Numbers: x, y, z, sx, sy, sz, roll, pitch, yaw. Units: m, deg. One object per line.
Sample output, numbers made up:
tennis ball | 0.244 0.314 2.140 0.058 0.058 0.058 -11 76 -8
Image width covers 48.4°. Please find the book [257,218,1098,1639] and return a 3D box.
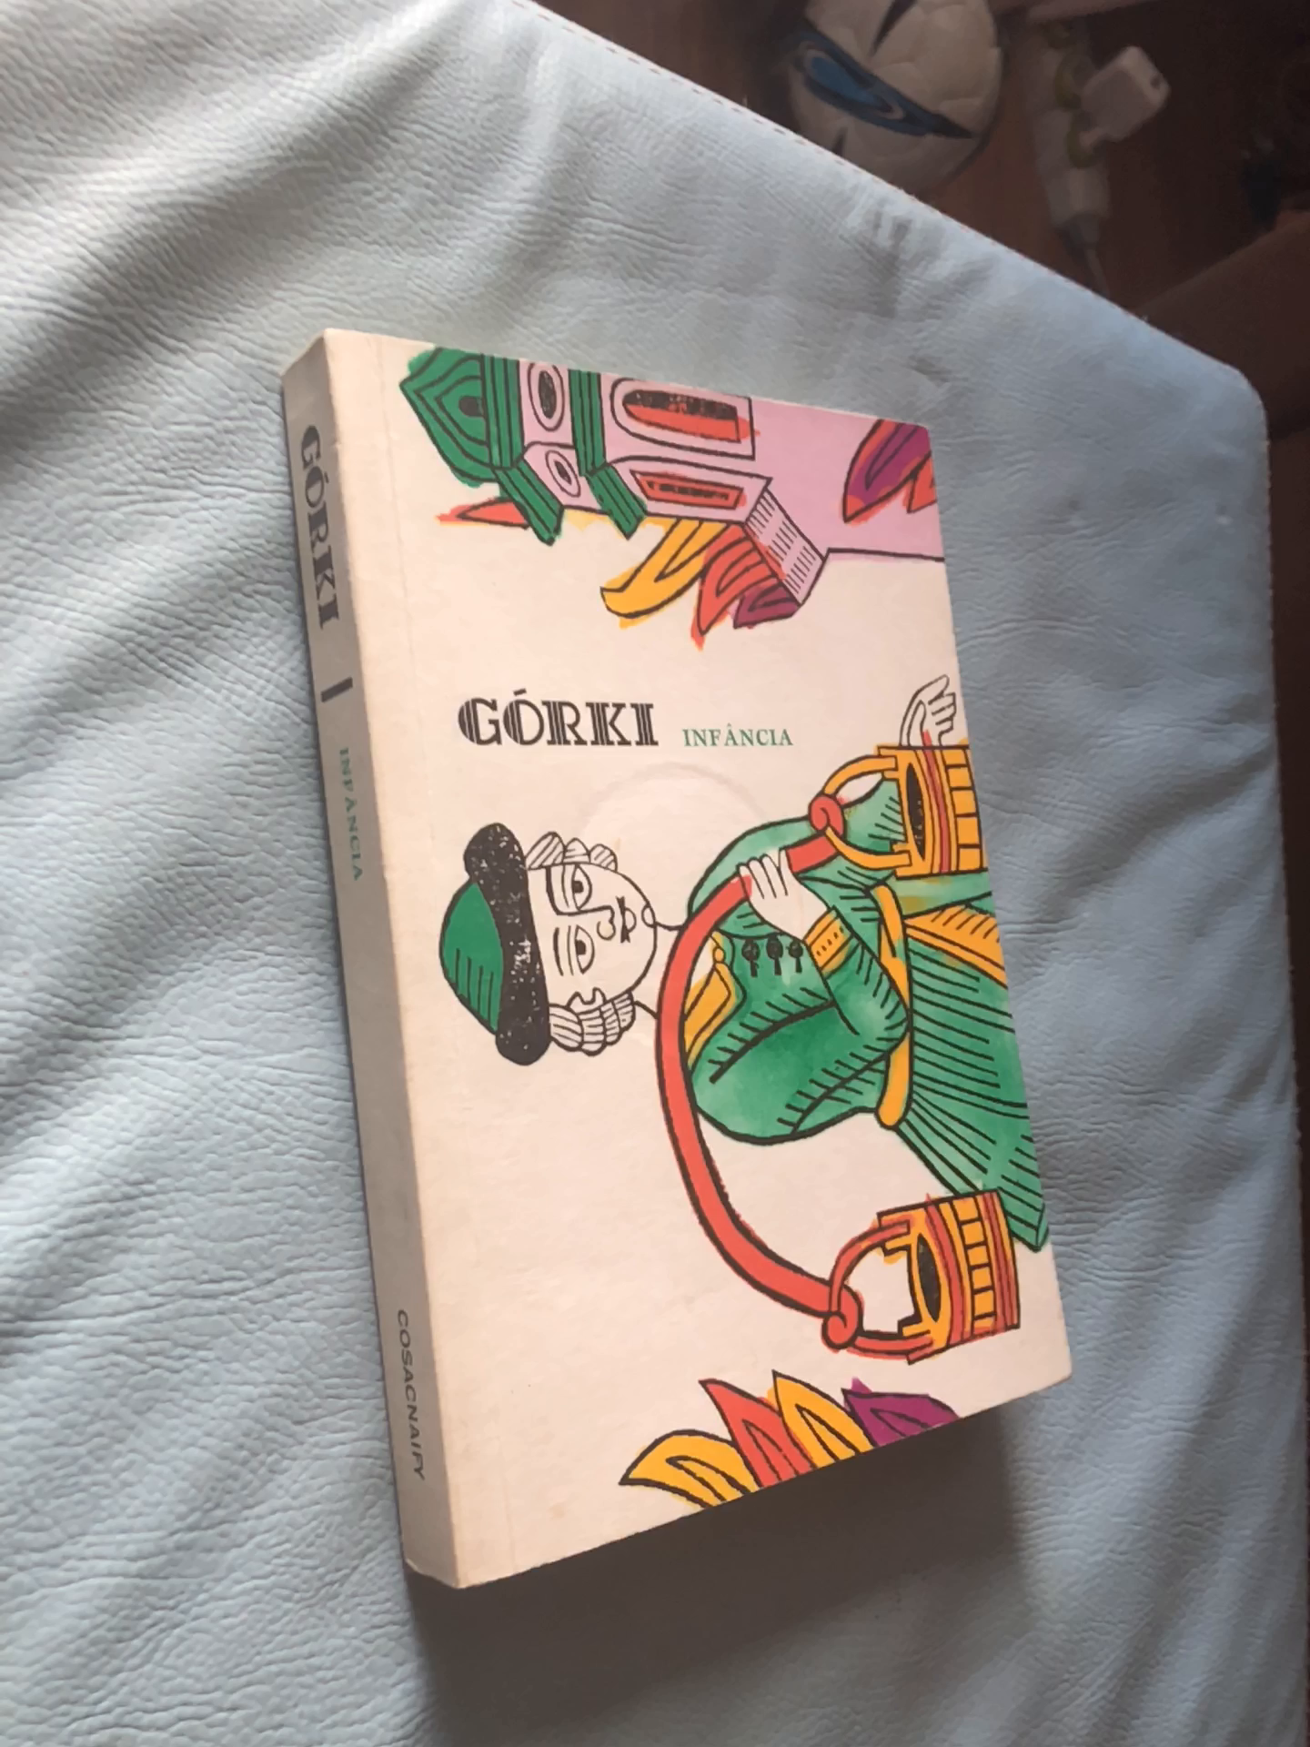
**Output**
book | 0.008 0.003 0.253 0.131 0.030 0.200 -3 83 -35
